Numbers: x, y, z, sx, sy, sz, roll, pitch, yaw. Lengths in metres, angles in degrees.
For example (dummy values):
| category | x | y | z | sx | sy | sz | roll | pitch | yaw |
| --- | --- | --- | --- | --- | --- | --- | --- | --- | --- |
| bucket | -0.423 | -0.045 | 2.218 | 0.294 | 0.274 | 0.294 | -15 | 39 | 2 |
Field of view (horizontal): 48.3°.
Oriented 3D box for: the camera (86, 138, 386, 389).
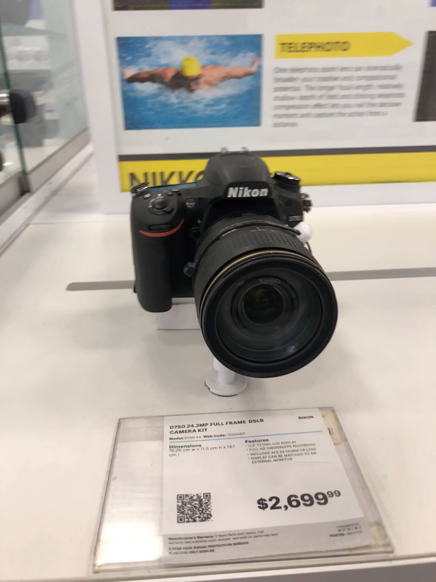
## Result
| category | x | y | z | sx | sy | sz | roll | pitch | yaw |
| --- | --- | --- | --- | --- | --- | --- | --- | --- | --- |
| camera | 0.003 | -0.034 | 0.340 | 0.150 | 0.110 | 0.171 | -4 | 26 | -5 |
